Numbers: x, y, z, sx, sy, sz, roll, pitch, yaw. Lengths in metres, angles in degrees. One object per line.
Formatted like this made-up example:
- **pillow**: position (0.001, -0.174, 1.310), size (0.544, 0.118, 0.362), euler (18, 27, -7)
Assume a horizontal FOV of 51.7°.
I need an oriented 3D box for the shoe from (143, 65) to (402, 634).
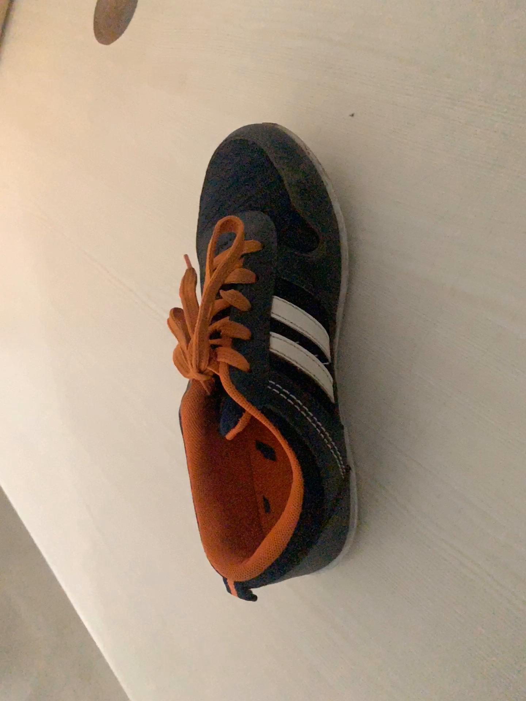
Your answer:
- **shoe**: position (0.000, 0.000, 0.297), size (0.101, 0.080, 0.250), euler (-10, 78, 39)
